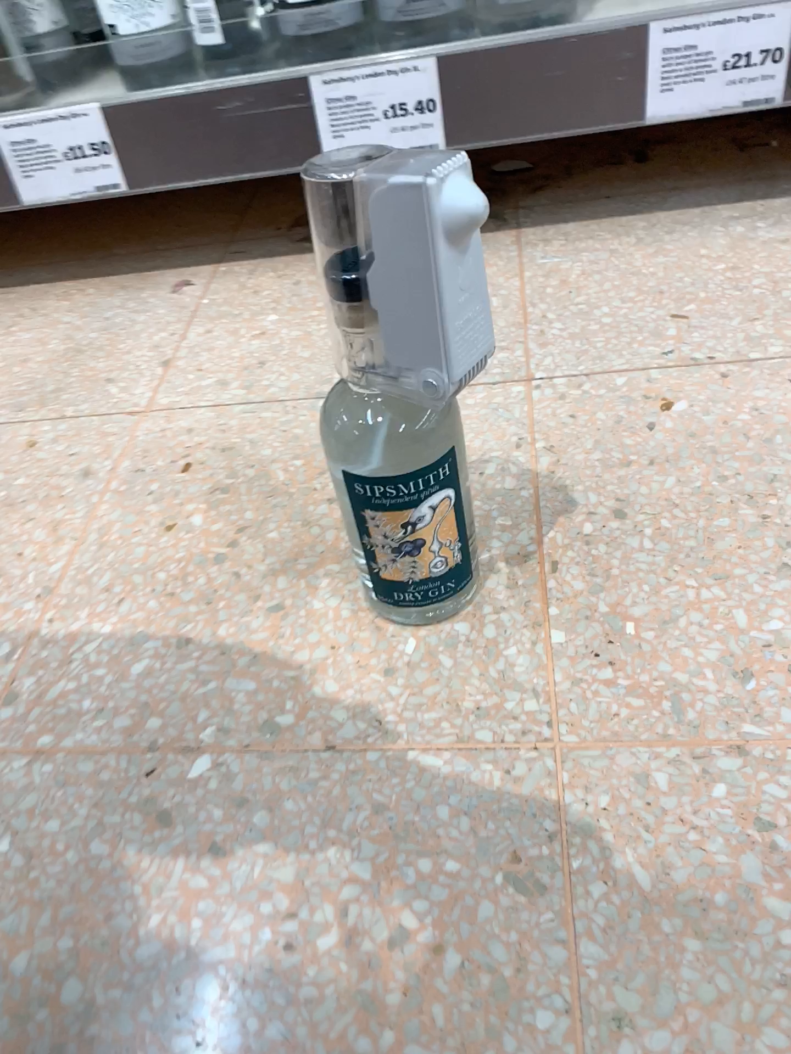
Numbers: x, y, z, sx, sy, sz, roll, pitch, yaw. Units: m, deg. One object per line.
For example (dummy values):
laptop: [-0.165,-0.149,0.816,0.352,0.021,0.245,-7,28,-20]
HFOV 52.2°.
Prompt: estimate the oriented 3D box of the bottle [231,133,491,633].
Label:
bottle: [-0.004,-0.051,0.379,0.074,0.222,0.069,-7,43,6]
